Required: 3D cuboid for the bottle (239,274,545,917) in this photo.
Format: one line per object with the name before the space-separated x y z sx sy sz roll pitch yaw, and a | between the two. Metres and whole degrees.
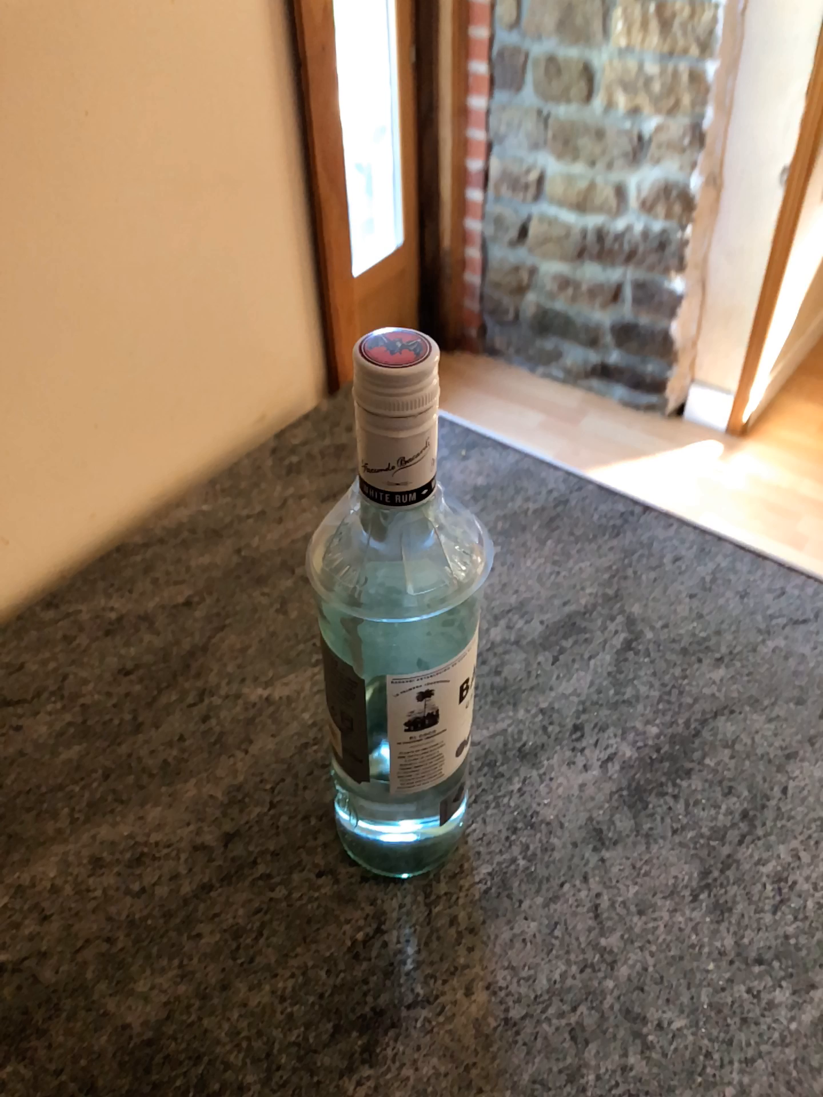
bottle | -0.006 0.042 0.407 0.080 0.298 0.080 -1 41 1
